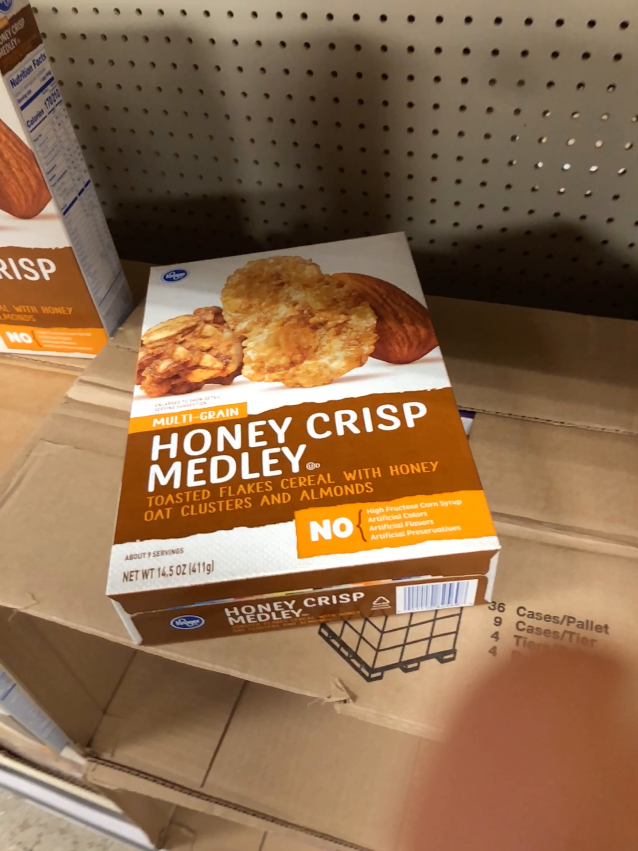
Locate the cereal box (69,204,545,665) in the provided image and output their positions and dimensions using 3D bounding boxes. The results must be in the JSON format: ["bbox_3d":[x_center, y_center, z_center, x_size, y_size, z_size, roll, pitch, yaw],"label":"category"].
[{"bbox_3d":[-0.015,-0.017,0.408,0.200,0.060,0.270,-7,48,0],"label":"cereal box"}]
